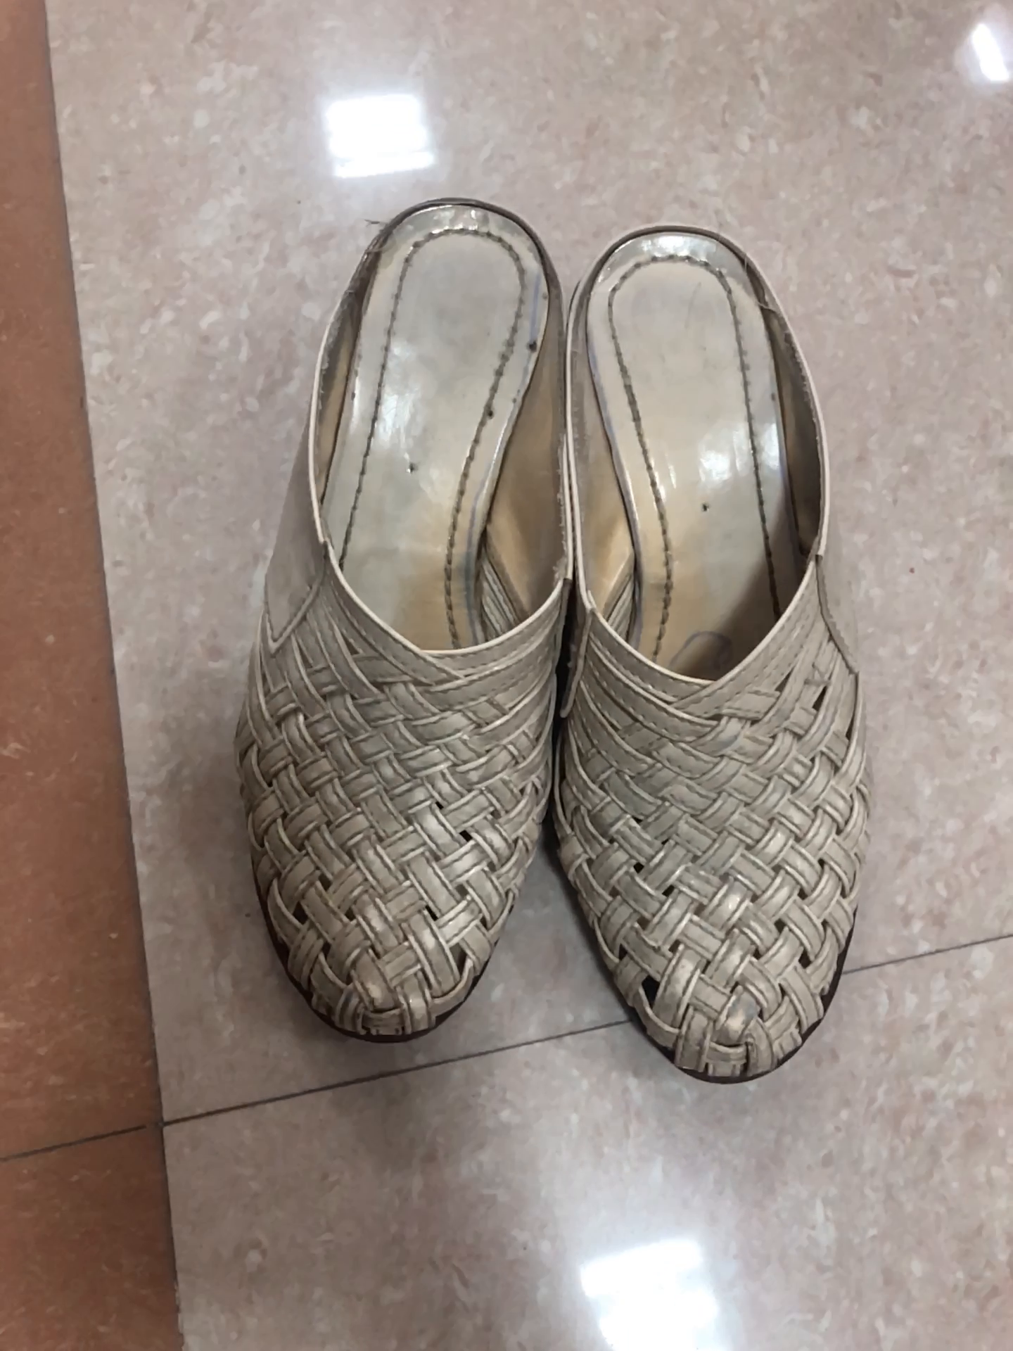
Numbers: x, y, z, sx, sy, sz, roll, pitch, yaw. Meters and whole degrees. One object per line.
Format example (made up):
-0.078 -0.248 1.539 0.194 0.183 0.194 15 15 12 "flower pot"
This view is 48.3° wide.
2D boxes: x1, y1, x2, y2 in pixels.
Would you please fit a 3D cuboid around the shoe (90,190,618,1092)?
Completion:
-0.029 -0.010 0.314 0.100 0.085 0.225 5 71 1 "shoe"

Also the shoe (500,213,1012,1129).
0.059 -0.003 0.309 0.100 0.085 0.222 -5 72 -2 "shoe"
